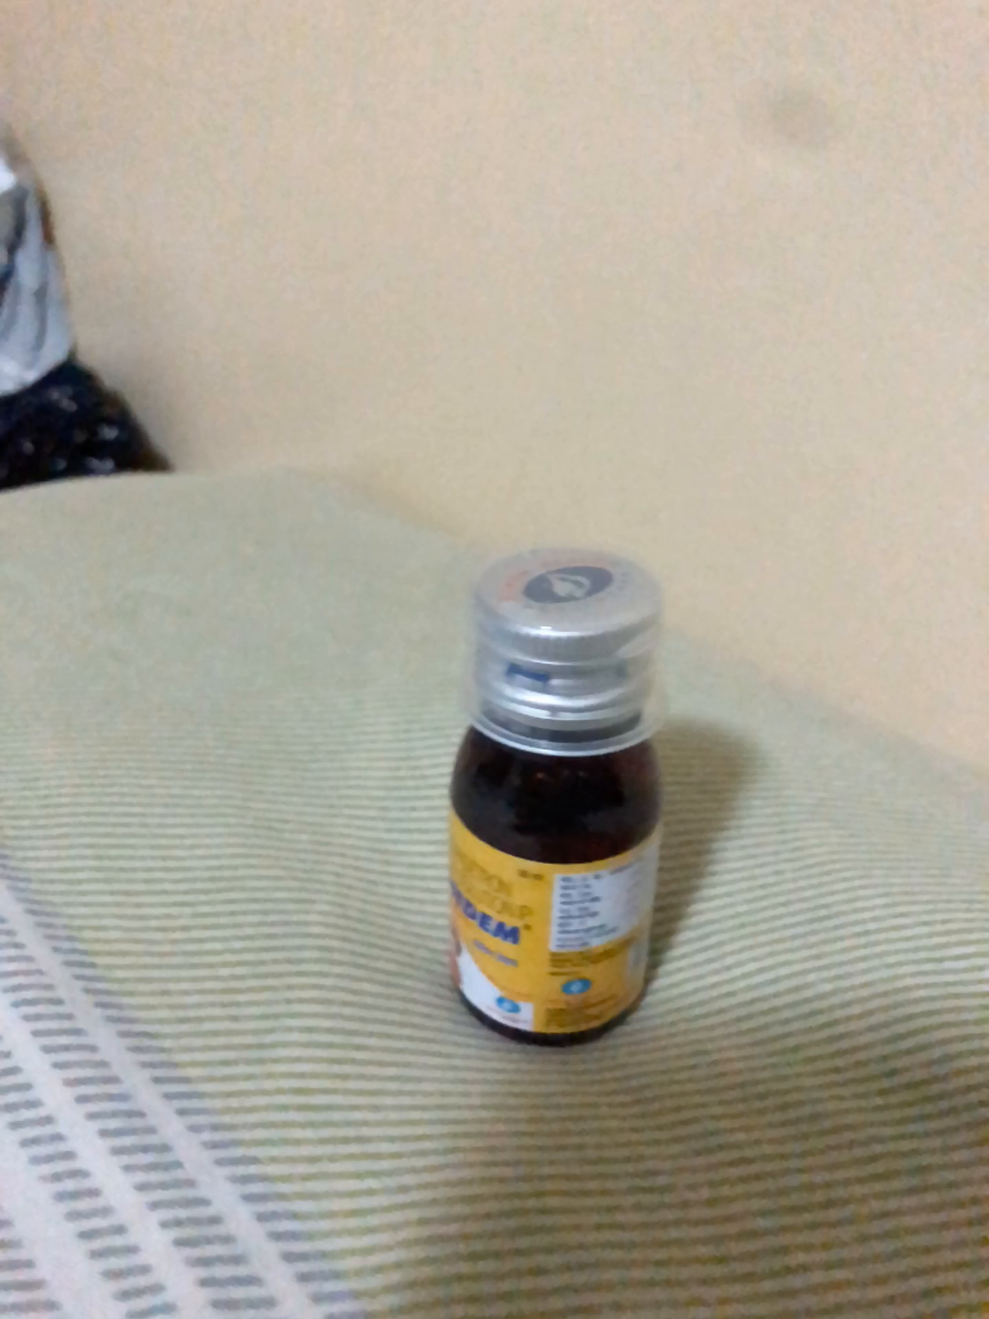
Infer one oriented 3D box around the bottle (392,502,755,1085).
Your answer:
[{"bbox_3d":[0.010,0.020,0.176,0.038,0.076,0.037,0,29,0],"label":"bottle"}]
